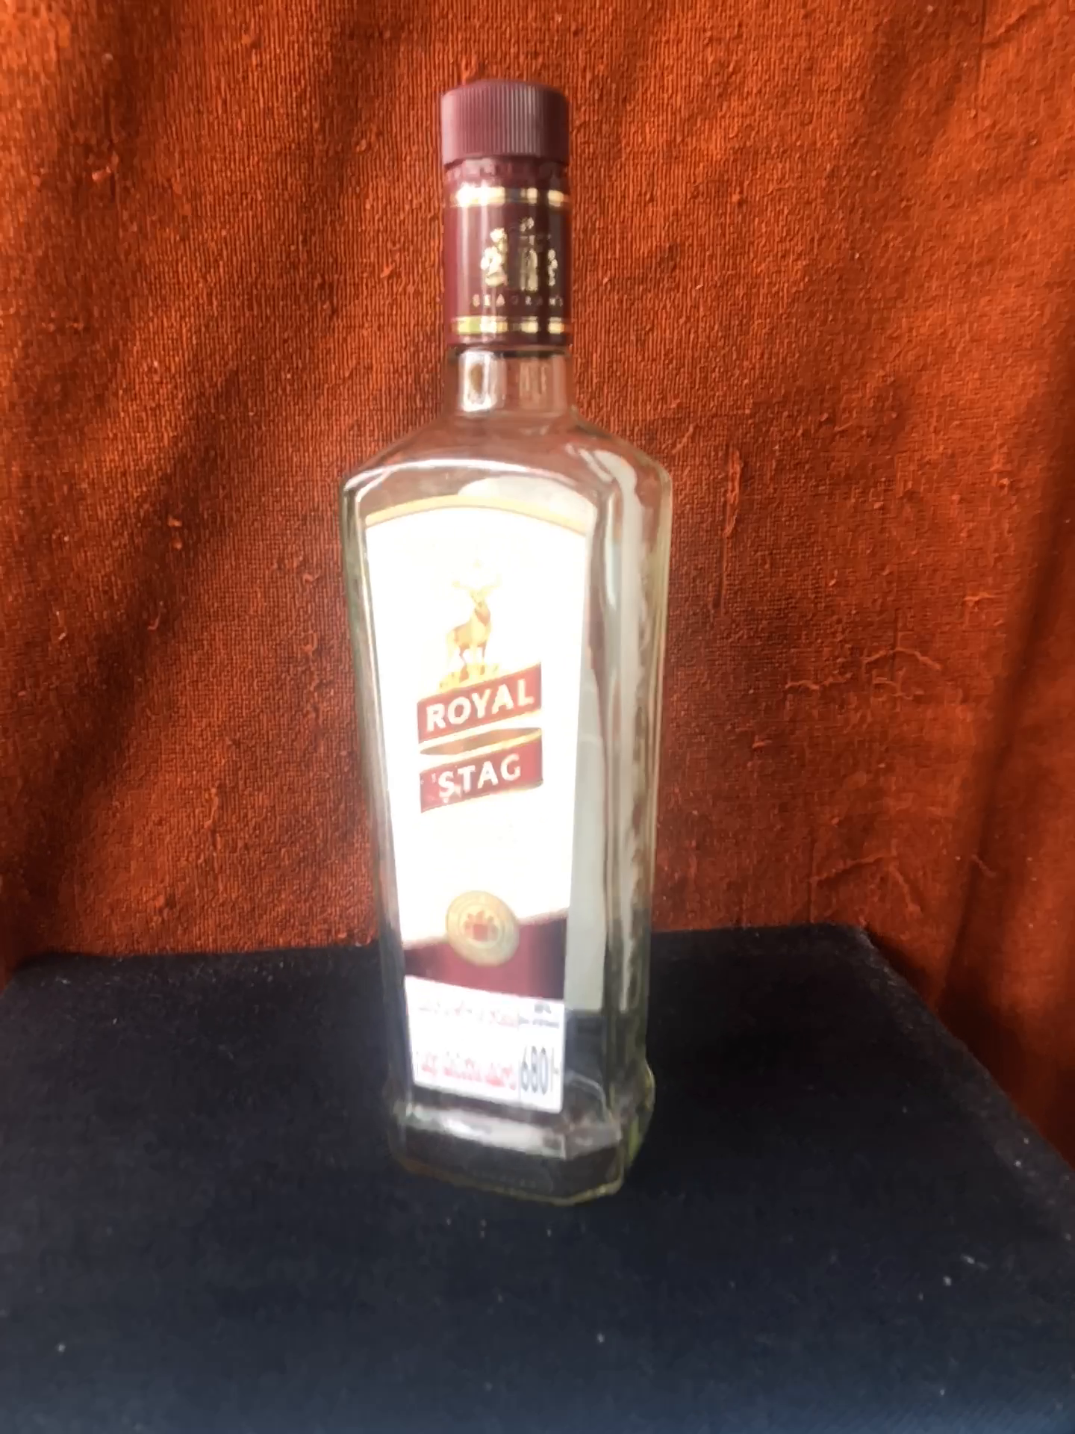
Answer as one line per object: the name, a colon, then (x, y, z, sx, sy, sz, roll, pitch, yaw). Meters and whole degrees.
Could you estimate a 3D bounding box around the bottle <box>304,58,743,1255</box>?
bottle: (-0.005, -0.007, 0.314, 0.090, 0.289, 0.060, 6, 17, 14)
